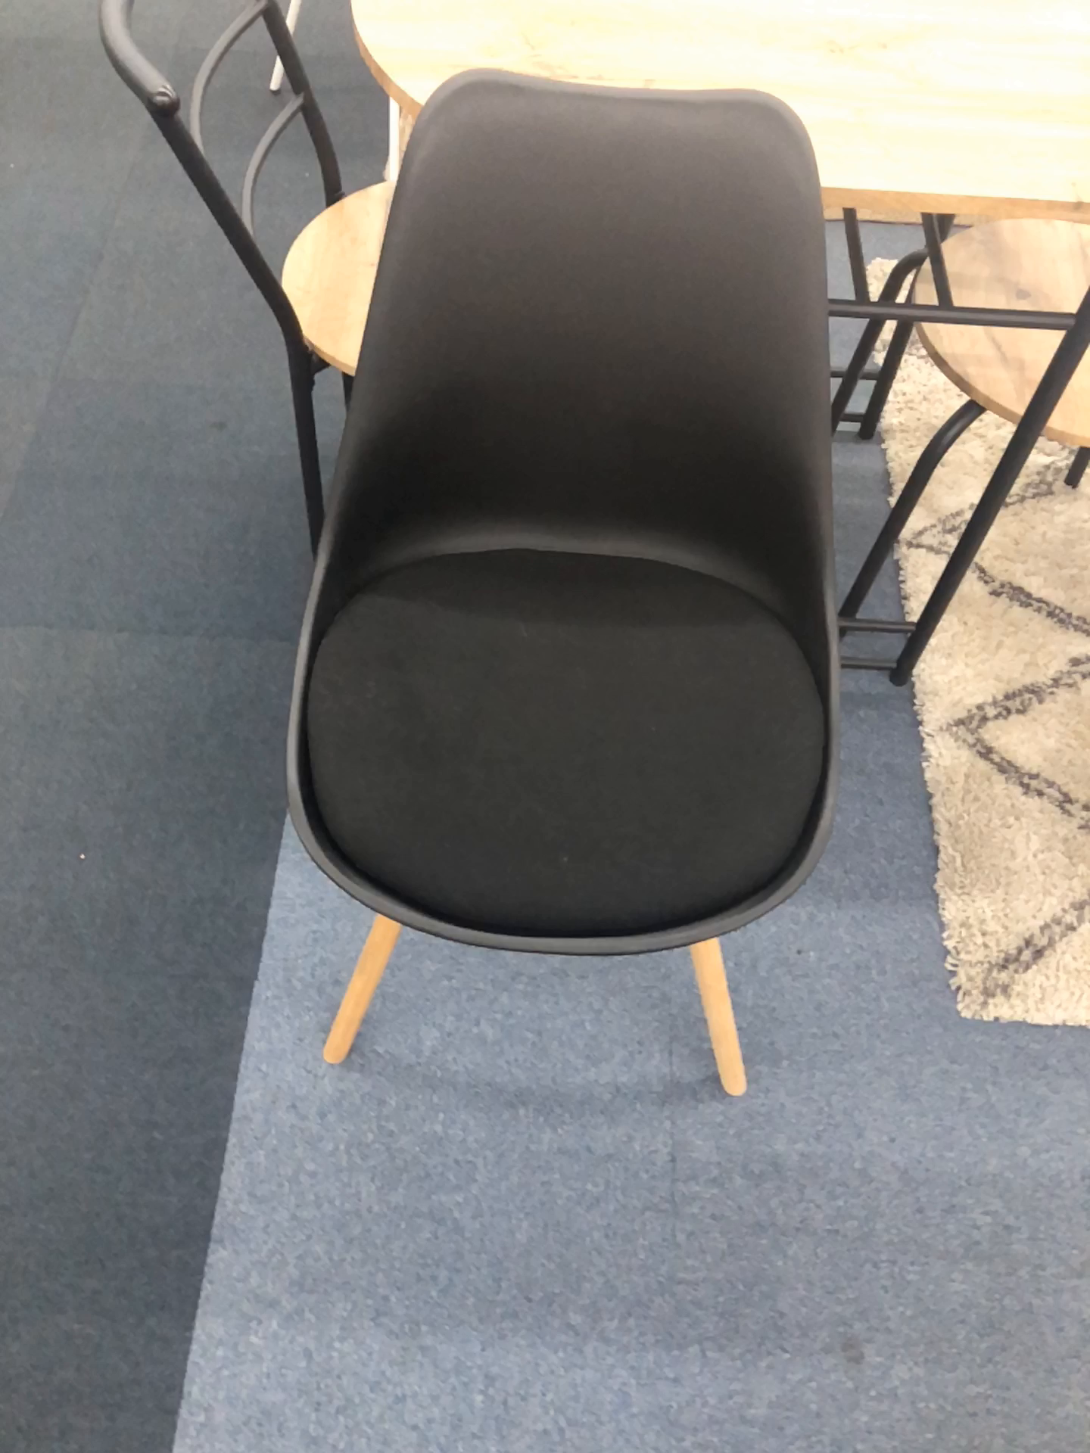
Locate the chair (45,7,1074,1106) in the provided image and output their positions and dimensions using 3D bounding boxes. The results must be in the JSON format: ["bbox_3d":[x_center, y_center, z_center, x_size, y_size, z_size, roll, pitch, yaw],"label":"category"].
[{"bbox_3d":[0.006,-0.045,1.064,0.490,0.858,0.501,4,58,0],"label":"chair"}]
